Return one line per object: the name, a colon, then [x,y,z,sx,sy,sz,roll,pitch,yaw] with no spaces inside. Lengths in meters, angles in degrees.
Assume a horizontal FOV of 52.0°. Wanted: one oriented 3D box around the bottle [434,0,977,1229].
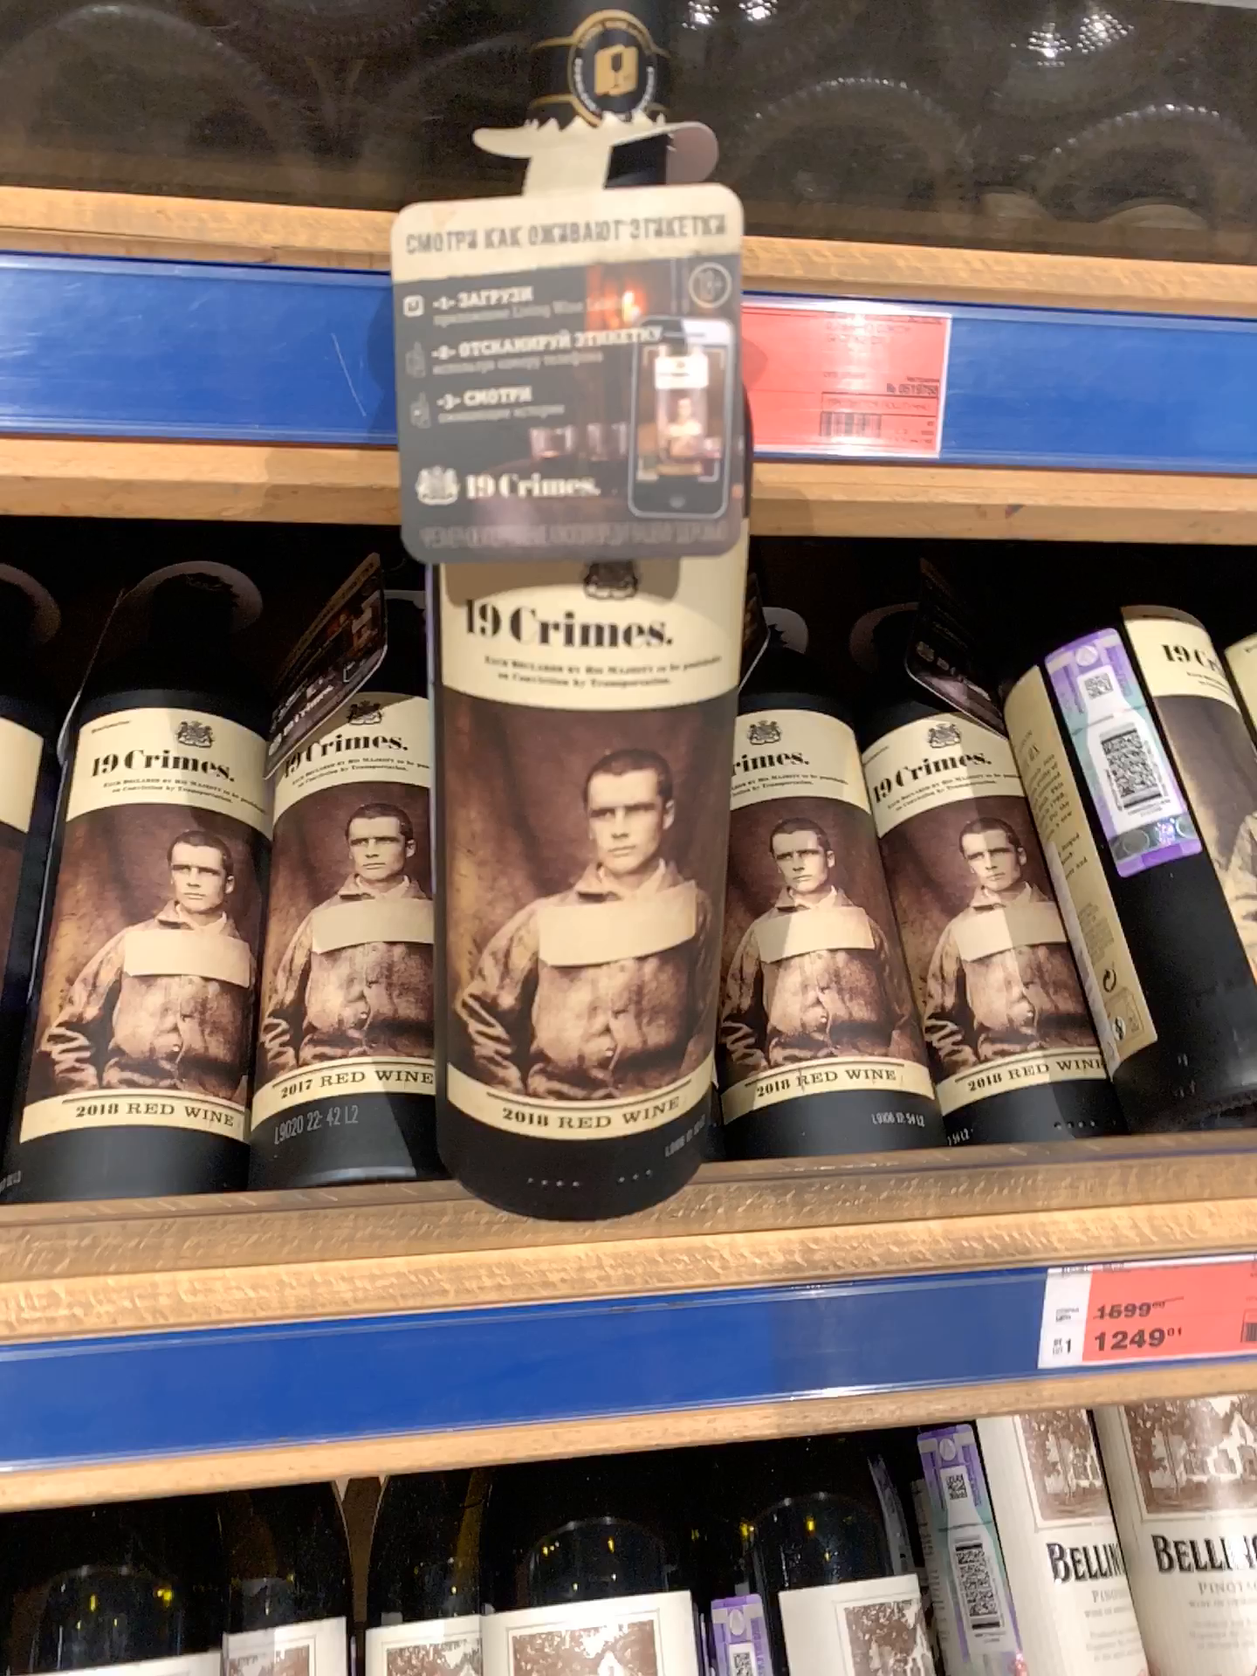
bottle: [0.001,-0.059,0.309,0.086,0.299,0.082,4,22,-1]
